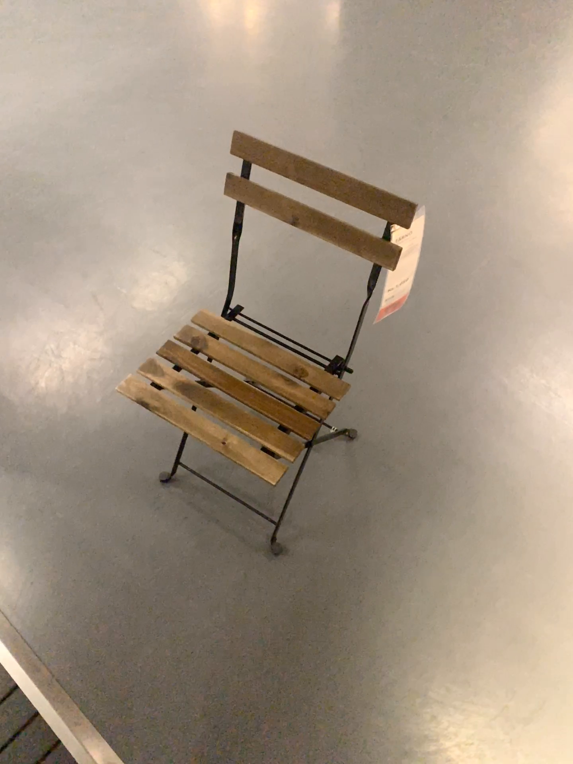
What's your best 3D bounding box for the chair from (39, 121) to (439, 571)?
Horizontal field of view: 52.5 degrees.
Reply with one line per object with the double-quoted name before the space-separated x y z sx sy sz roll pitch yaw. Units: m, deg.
"chair" -0.059 -0.035 1.221 0.430 0.698 0.501 28 60 18
